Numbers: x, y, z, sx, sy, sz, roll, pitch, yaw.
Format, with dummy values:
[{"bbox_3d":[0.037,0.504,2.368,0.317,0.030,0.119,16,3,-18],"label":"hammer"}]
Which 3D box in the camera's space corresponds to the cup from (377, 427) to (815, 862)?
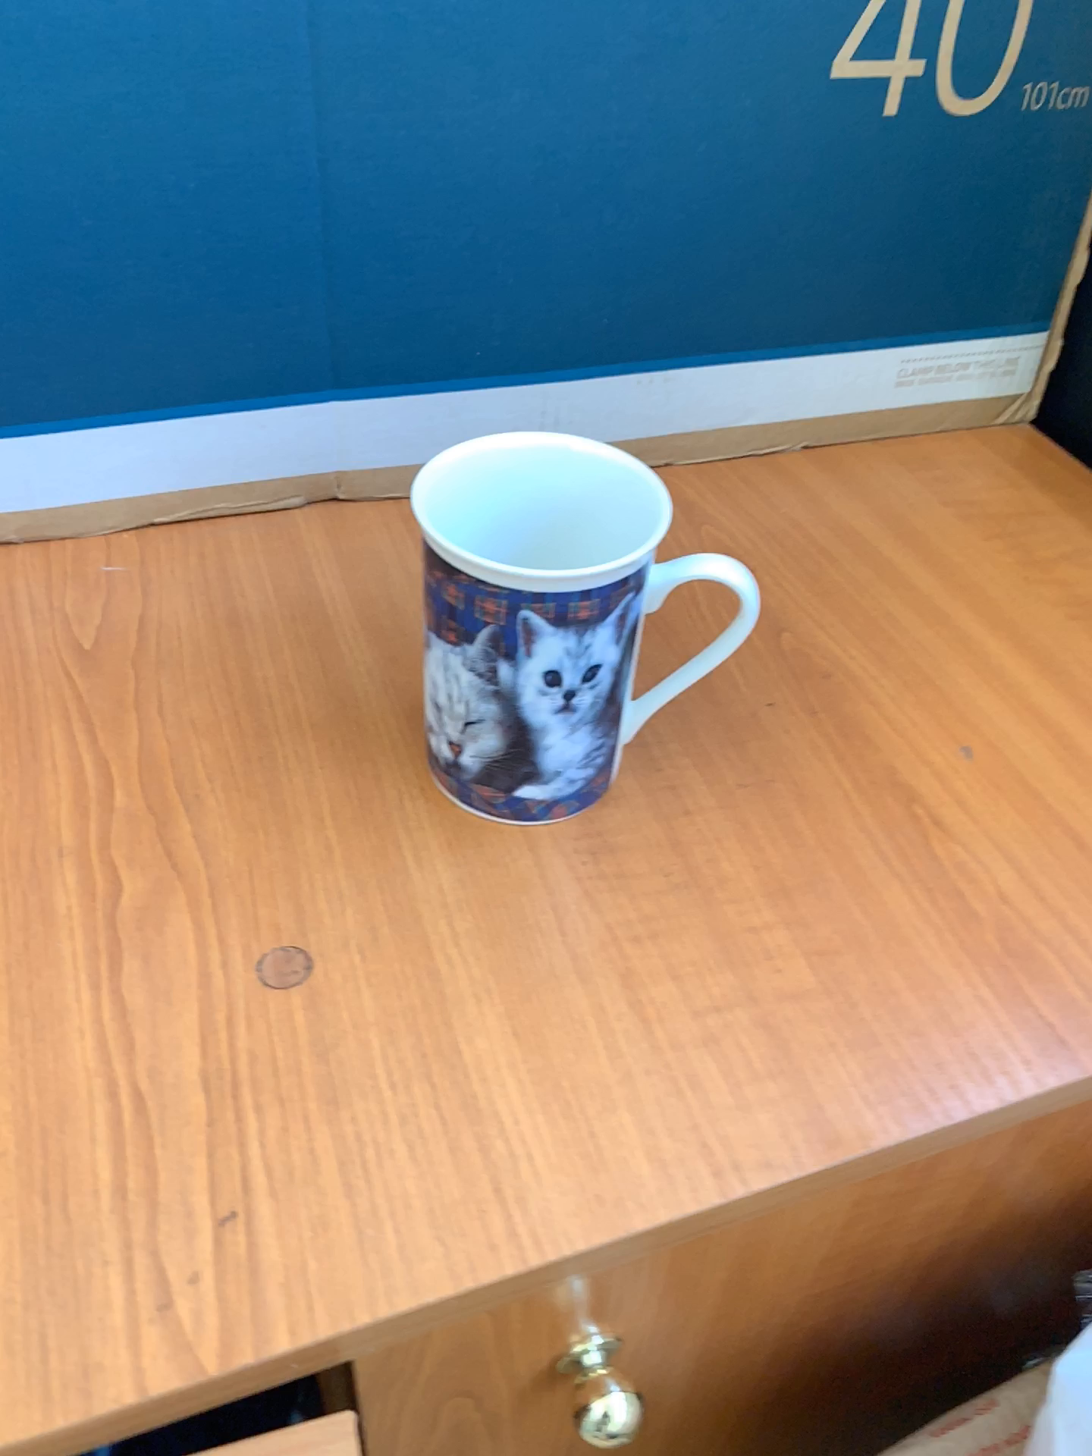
[{"bbox_3d":[0.007,-0.027,0.349,0.110,0.100,0.080,-4,43,-9],"label":"cup"}]
